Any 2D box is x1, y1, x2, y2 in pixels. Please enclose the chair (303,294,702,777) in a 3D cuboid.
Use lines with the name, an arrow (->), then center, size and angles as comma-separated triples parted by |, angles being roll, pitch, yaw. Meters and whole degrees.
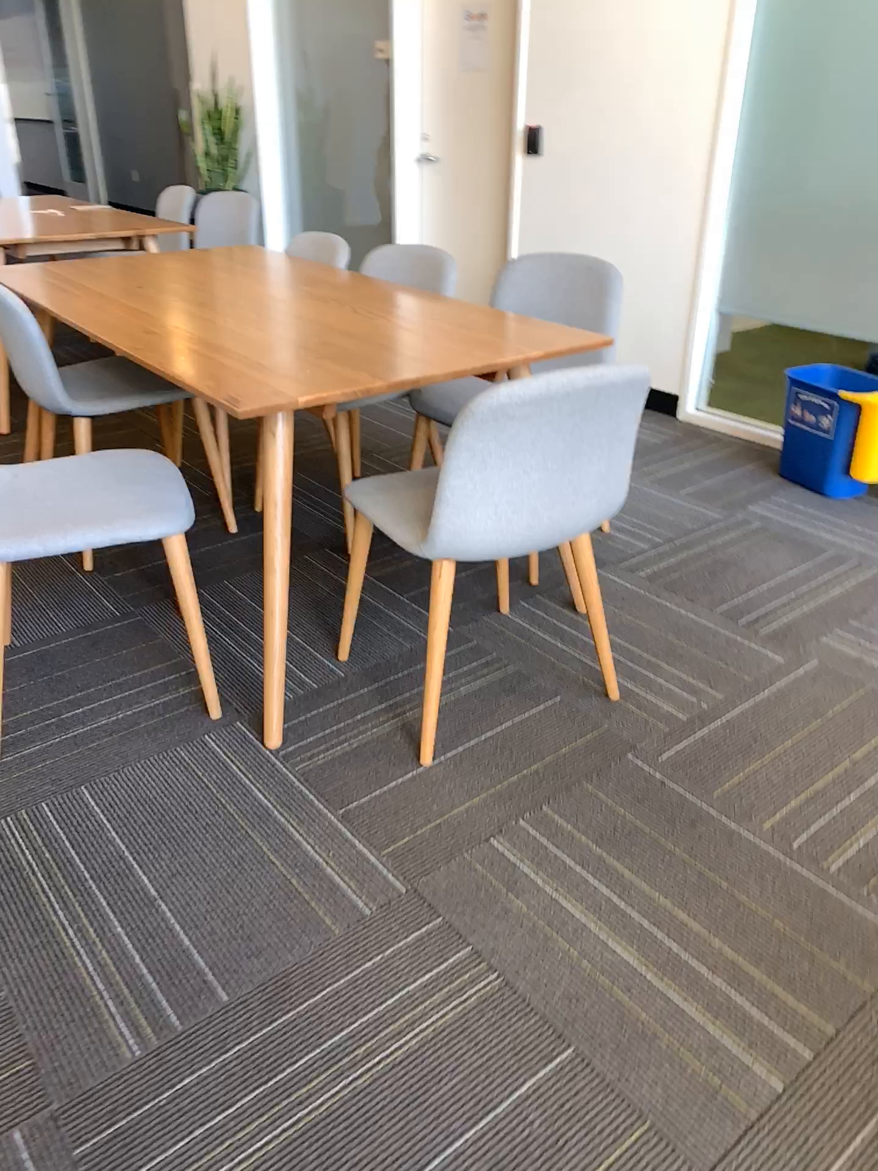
chair -> 0.098, -0.146, 1.881 | 0.561, 0.775, 0.533 | -14, 31, -27

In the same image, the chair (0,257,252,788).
chair -> -0.821, -0.203, 1.899 | 0.630, 0.815, 0.764 | -10, 29, -19
